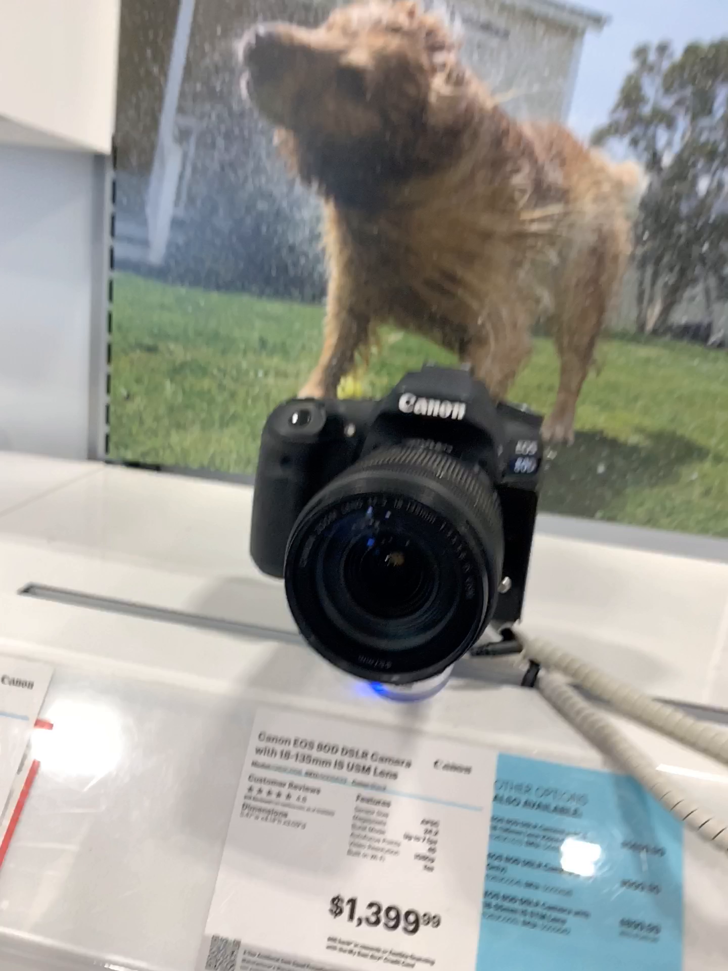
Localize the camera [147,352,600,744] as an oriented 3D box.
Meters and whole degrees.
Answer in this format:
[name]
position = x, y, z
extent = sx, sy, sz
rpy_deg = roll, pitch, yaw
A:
[camera]
position = 0.010, 0.008, 0.324
extent = 0.140, 0.100, 0.161
rpy_deg = 8, 16, 8
